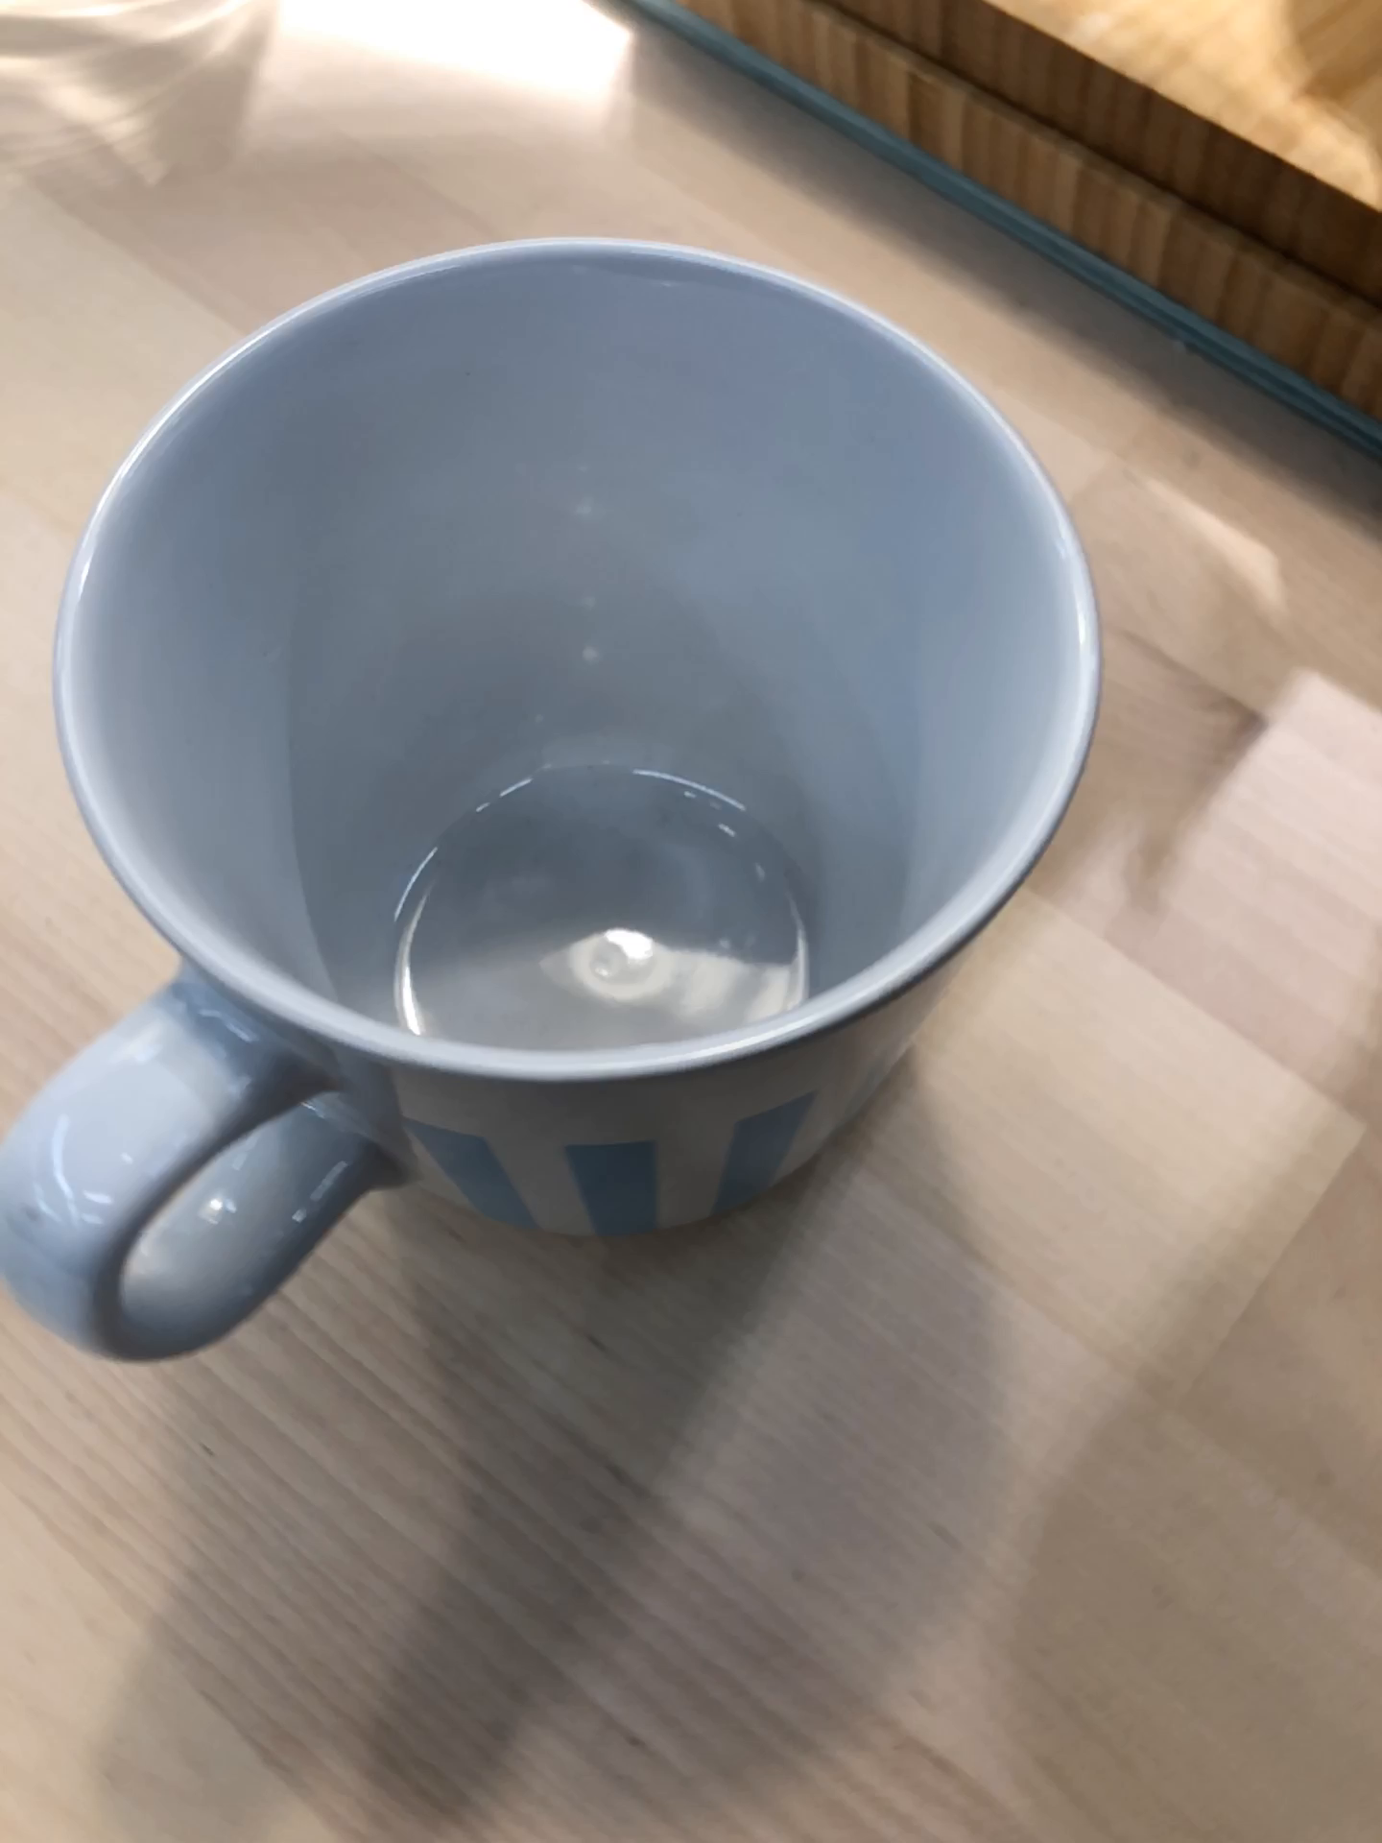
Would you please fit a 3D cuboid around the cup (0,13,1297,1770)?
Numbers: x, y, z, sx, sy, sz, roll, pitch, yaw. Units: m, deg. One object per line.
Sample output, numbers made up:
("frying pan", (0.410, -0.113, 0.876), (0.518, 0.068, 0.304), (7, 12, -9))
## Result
("cup", (-0.022, -0.003, 0.148), (0.080, 0.080, 0.120), (37, 68, 17))
